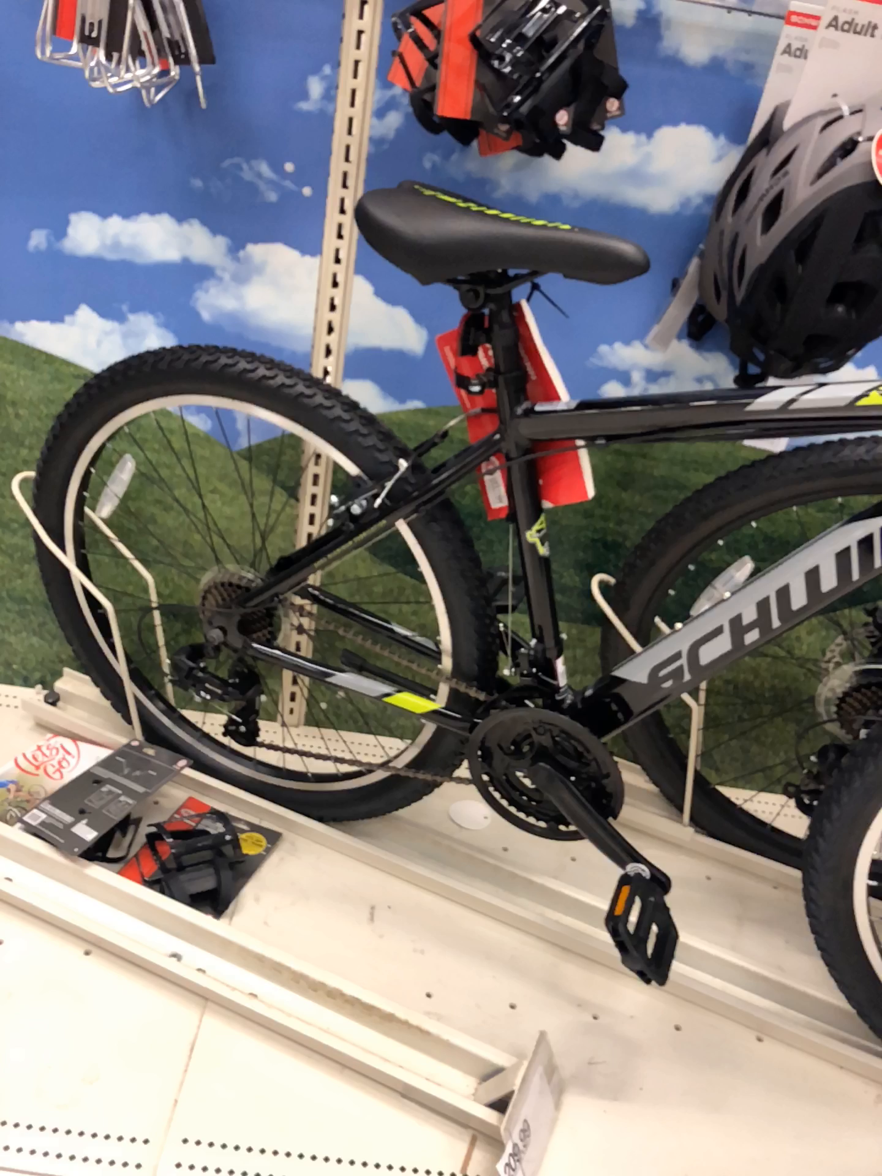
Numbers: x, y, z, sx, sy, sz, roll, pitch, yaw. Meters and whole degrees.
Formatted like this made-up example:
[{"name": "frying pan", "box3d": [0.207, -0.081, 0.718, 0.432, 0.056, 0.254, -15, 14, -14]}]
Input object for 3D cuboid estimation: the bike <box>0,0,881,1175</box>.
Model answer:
[{"name": "bike", "box3d": [0.189, 0.100, 0.925, 1.652, 1.003, 0.601, 20, 27, 17]}]
